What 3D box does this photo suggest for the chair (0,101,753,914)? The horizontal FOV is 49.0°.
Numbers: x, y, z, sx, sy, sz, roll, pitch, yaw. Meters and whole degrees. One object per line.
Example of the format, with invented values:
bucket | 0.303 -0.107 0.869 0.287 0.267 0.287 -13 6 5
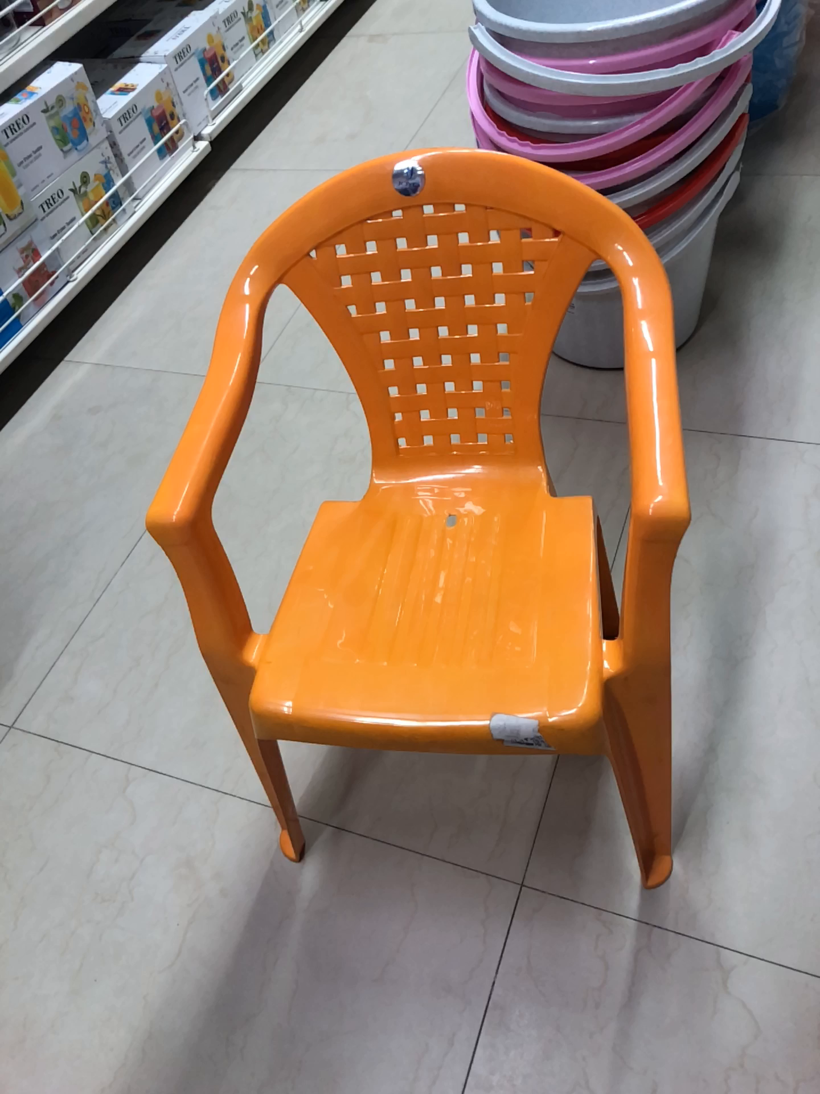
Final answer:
chair | 0.034 -0.009 0.728 0.390 0.467 0.402 1 50 15
